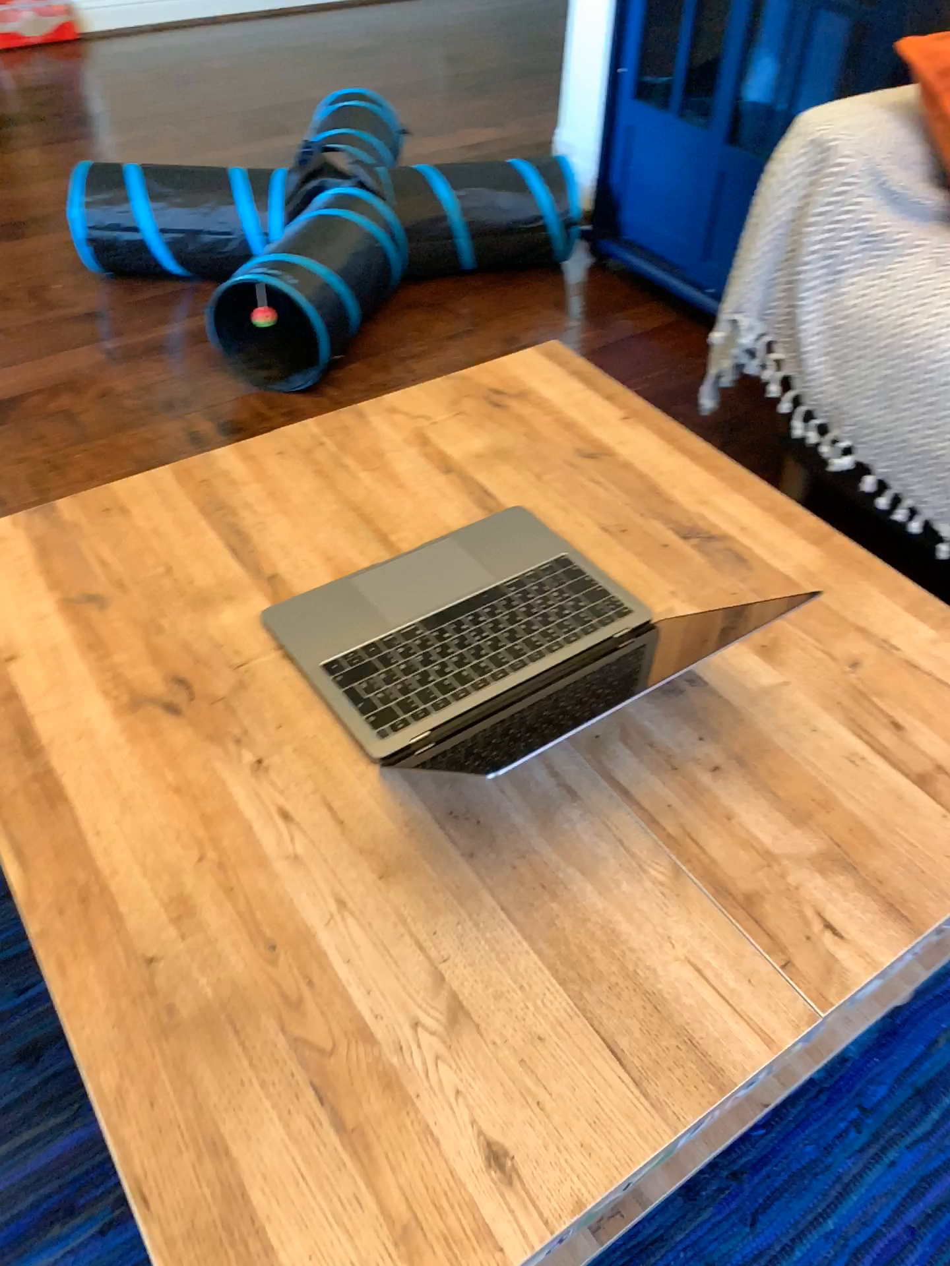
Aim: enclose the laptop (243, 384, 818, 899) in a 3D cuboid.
[{"bbox_3d":[0.028,-0.025,0.792,0.291,0.141,0.354,-25,50,-25],"label":"laptop"}]
